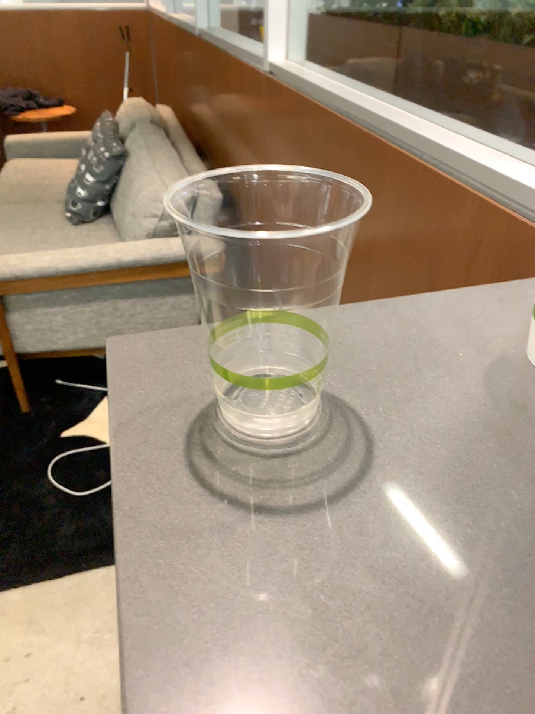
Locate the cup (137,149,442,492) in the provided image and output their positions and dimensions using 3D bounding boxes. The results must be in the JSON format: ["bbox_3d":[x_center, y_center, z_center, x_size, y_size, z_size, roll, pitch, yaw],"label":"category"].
[{"bbox_3d":[0.003,-0.025,0.275,0.100,0.119,0.101,1,34,0],"label":"cup"}]
